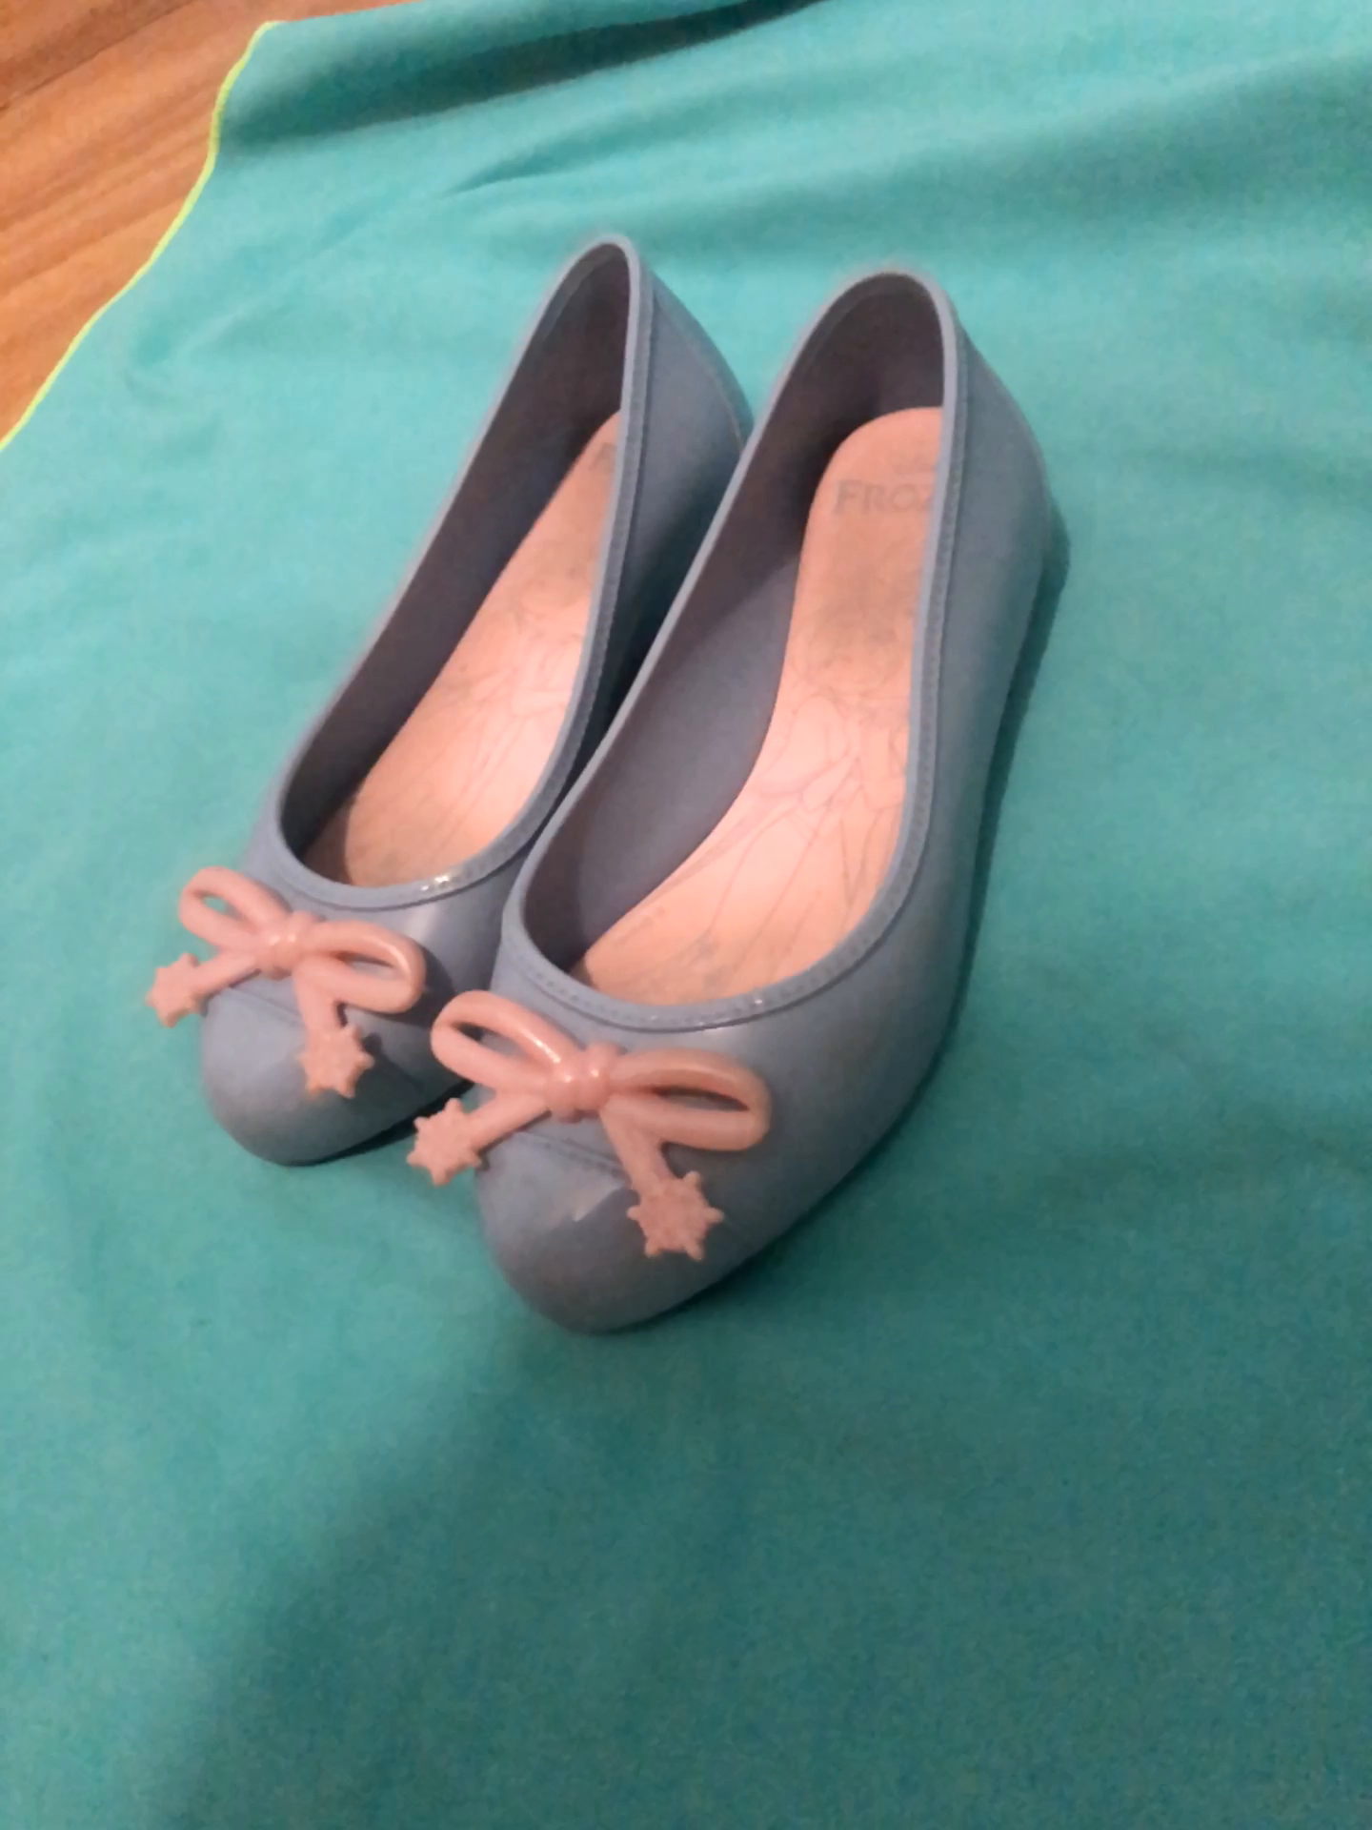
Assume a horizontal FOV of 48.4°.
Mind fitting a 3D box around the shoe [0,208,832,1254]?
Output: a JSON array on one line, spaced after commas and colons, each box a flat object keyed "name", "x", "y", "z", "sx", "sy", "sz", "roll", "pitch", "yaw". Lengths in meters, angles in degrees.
[{"name": "shoe", "x": -0.048, "y": -0.045, "z": 0.291, "sx": 0.080, "sy": 0.060, "sz": 0.190, "roll": 10, "pitch": 63, "yaw": 28}]

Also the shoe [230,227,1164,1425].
[{"name": "shoe", "x": 0.015, "y": -0.026, "z": 0.259, "sx": 0.080, "sy": 0.060, "sz": 0.190, "roll": 10, "pitch": 63, "yaw": 28}]
